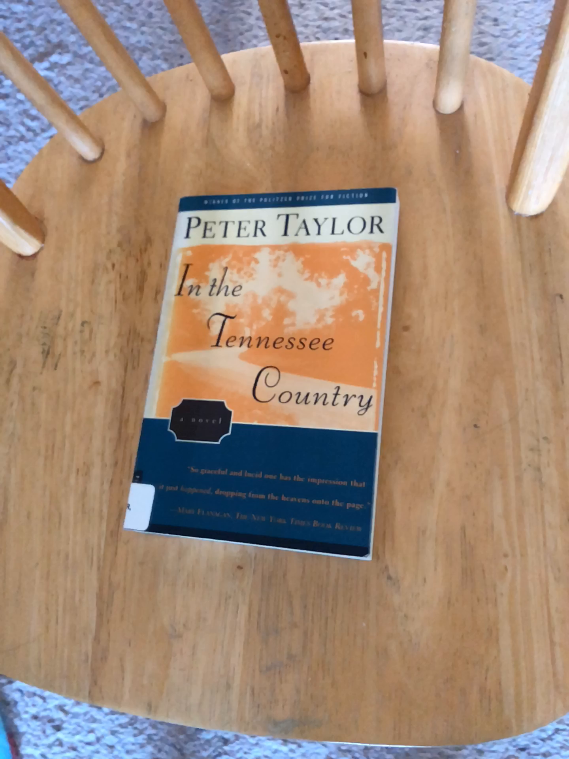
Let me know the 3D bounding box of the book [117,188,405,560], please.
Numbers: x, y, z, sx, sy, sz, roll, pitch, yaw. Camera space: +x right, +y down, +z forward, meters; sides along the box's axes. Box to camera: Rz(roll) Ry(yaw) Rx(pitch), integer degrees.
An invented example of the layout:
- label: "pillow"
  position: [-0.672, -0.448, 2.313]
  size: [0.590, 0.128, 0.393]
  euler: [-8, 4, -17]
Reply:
- label: "book"
  position: [-0.010, -0.010, 0.359]
  size: [0.137, 0.025, 0.200]
  euler: [3, 75, 17]
